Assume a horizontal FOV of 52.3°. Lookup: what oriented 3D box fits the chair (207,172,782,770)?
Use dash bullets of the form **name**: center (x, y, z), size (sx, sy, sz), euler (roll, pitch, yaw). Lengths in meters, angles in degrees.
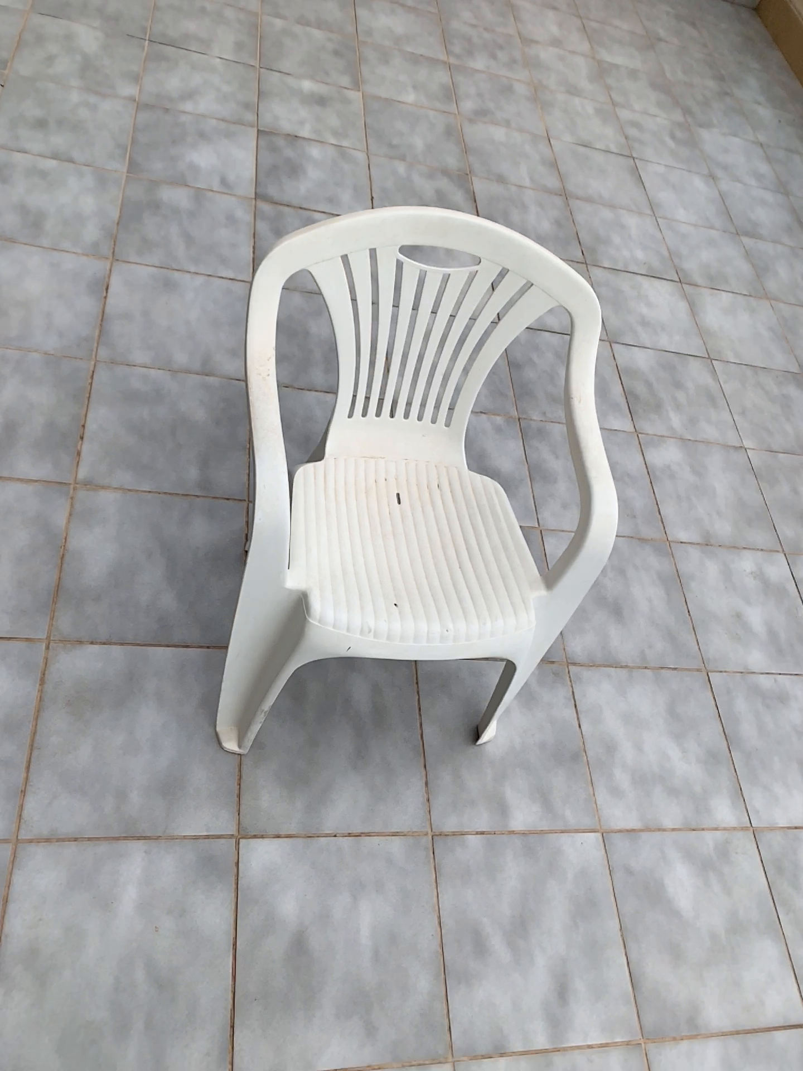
- **chair**: center (0.031, -0.039, 1.255), size (0.571, 0.667, 0.561), euler (2, 57, -19)
